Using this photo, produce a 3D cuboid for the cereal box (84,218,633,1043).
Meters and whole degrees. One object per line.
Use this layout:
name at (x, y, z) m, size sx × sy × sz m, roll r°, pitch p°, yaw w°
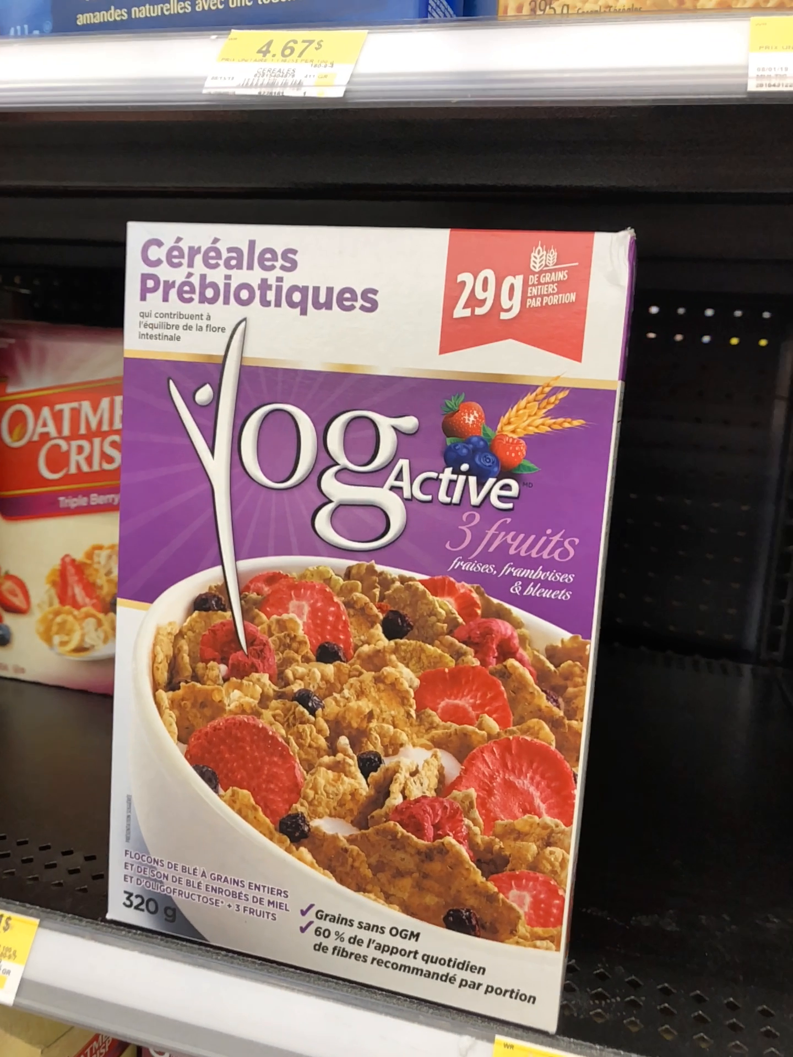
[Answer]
cereal box at (-0.020, 0.030, 0.346) m, size 0.190 × 0.279 × 0.060 m, roll 6°, pitch 9°, yaw 16°
